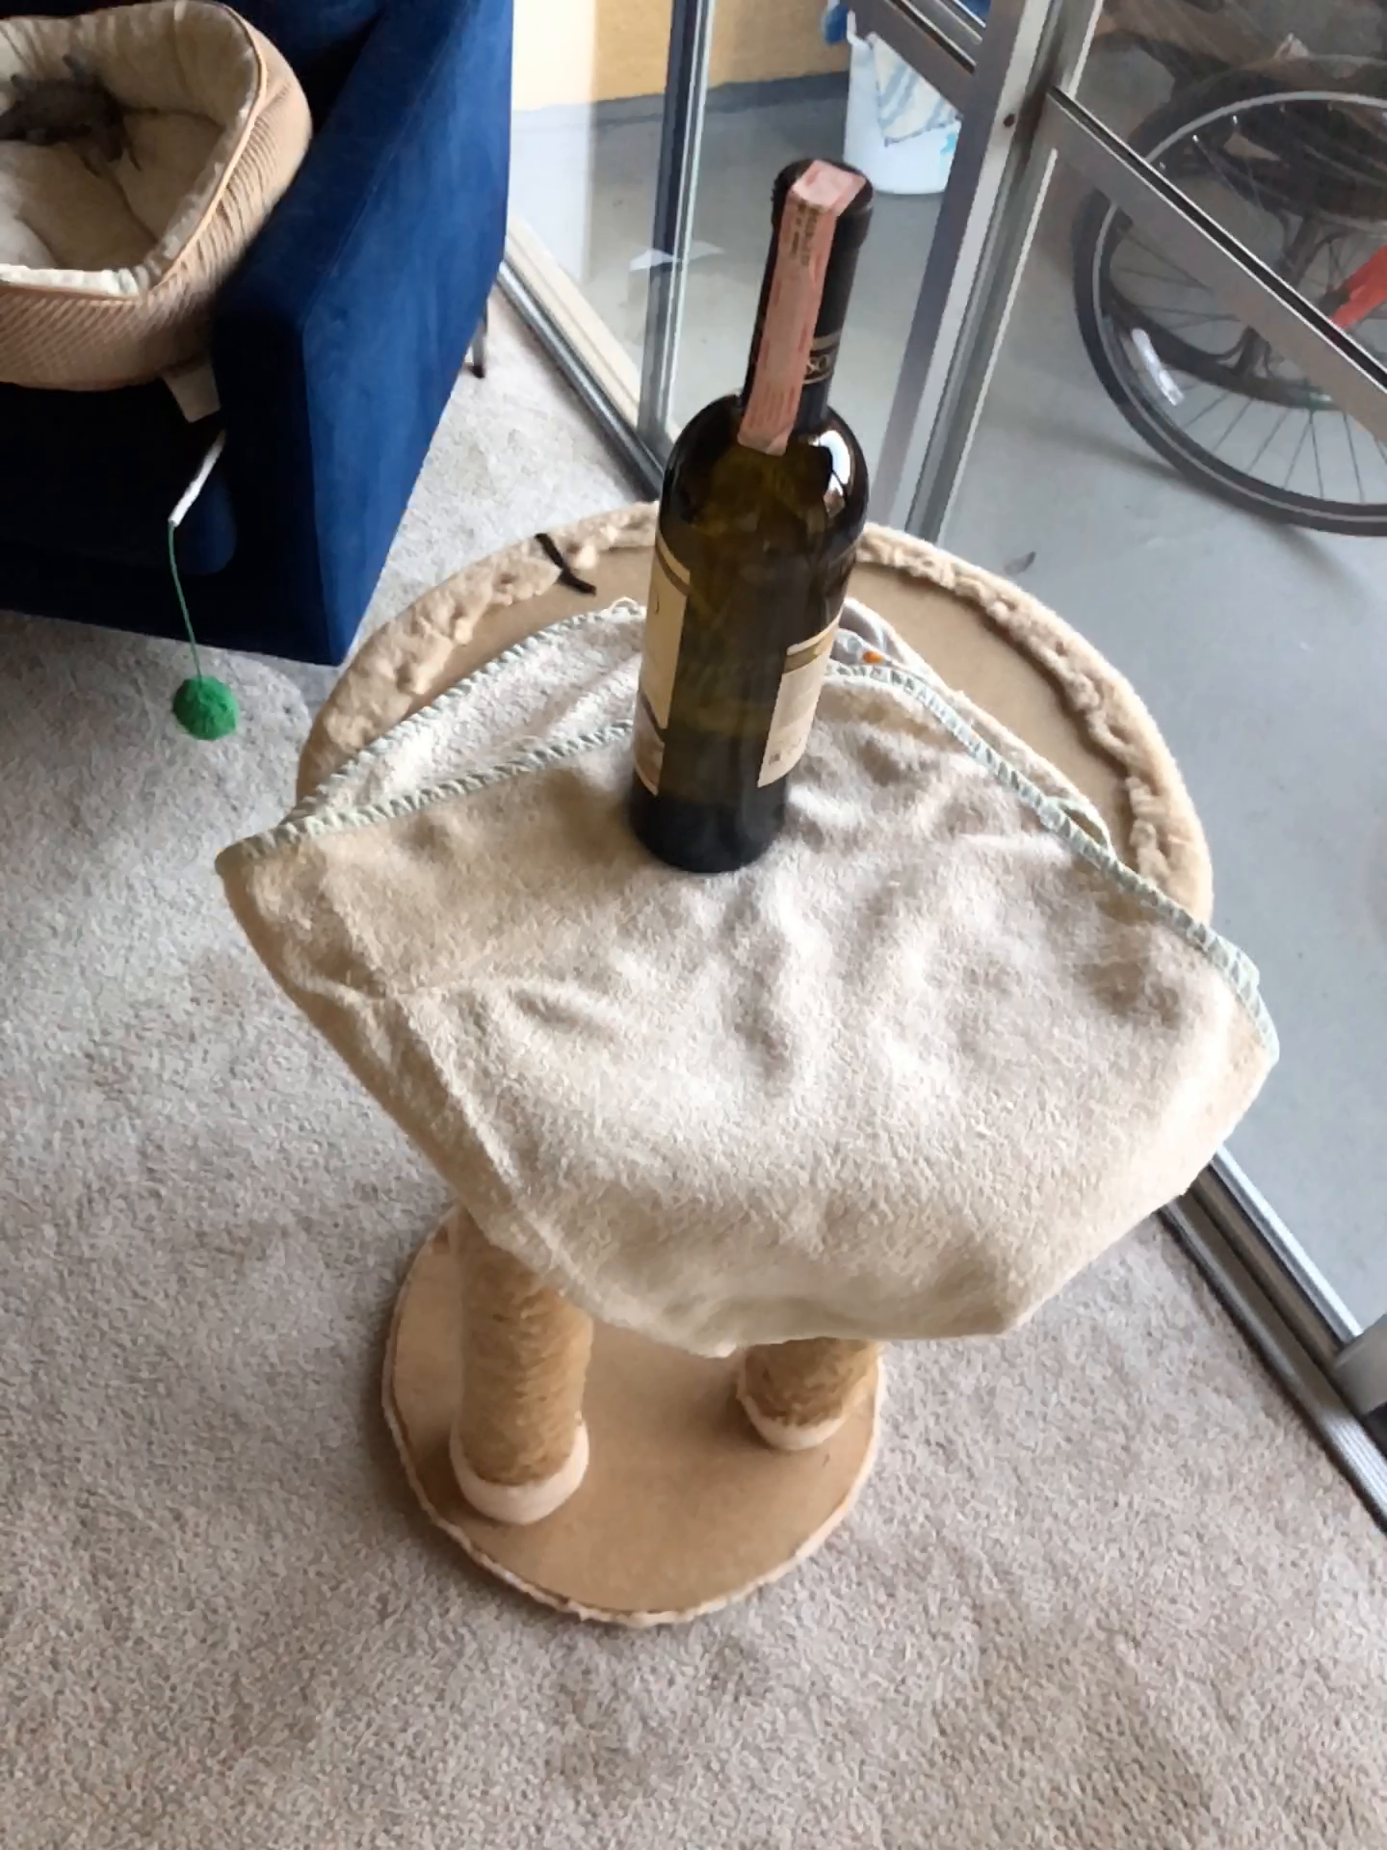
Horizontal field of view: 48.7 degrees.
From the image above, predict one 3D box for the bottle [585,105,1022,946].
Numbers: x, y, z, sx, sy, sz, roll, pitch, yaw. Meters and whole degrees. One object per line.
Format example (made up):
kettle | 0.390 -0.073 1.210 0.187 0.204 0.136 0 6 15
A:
bottle | 0.024 -0.114 0.523 0.080 0.269 0.080 4 54 -5
